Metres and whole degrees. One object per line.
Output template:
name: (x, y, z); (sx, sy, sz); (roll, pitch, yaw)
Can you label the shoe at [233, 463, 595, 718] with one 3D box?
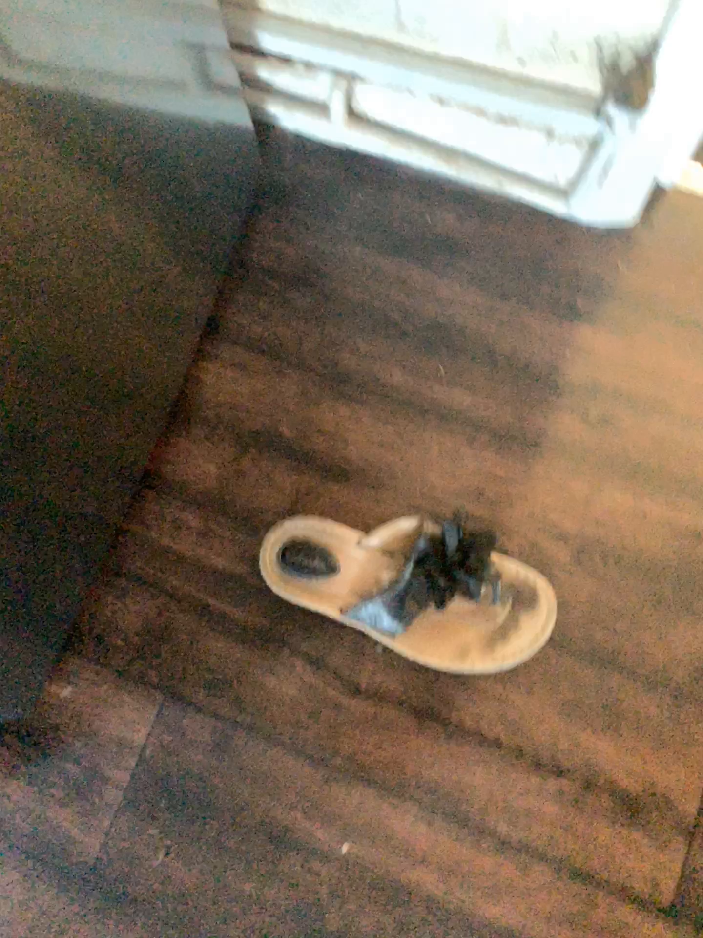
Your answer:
shoe: (0.047, 0.092, 0.564); (0.250, 0.050, 0.110); (19, 78, 9)
